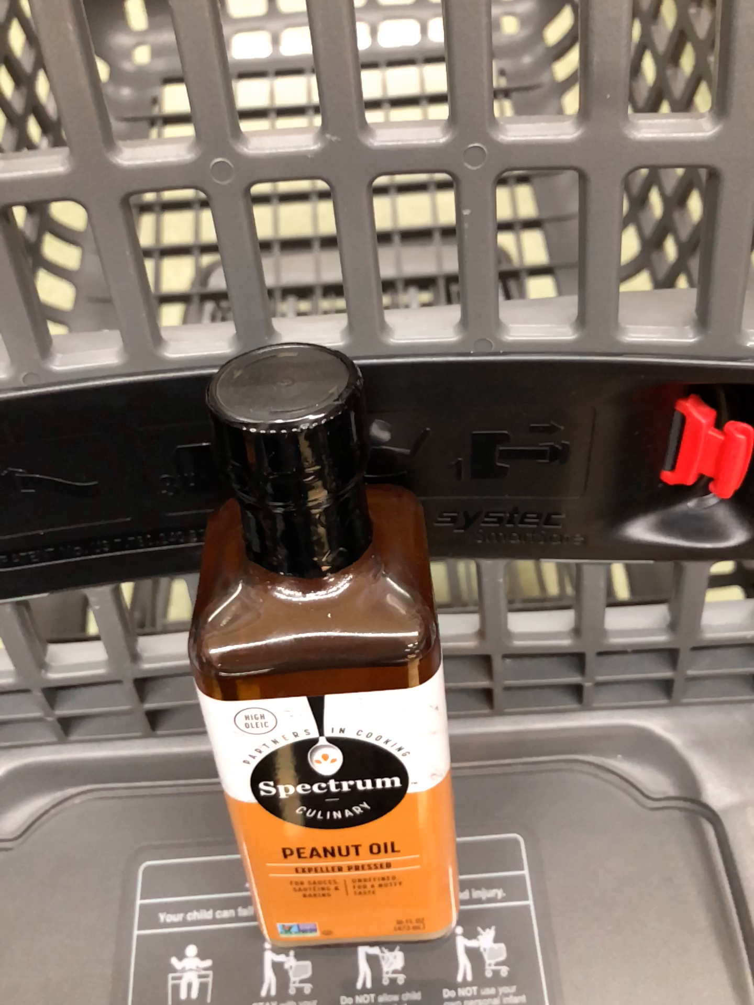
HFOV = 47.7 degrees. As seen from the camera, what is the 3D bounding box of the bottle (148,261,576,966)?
[{"bbox_3d":[0.002,0.043,0.226,0.070,0.190,0.070,-3,39,2],"label":"bottle"}]
